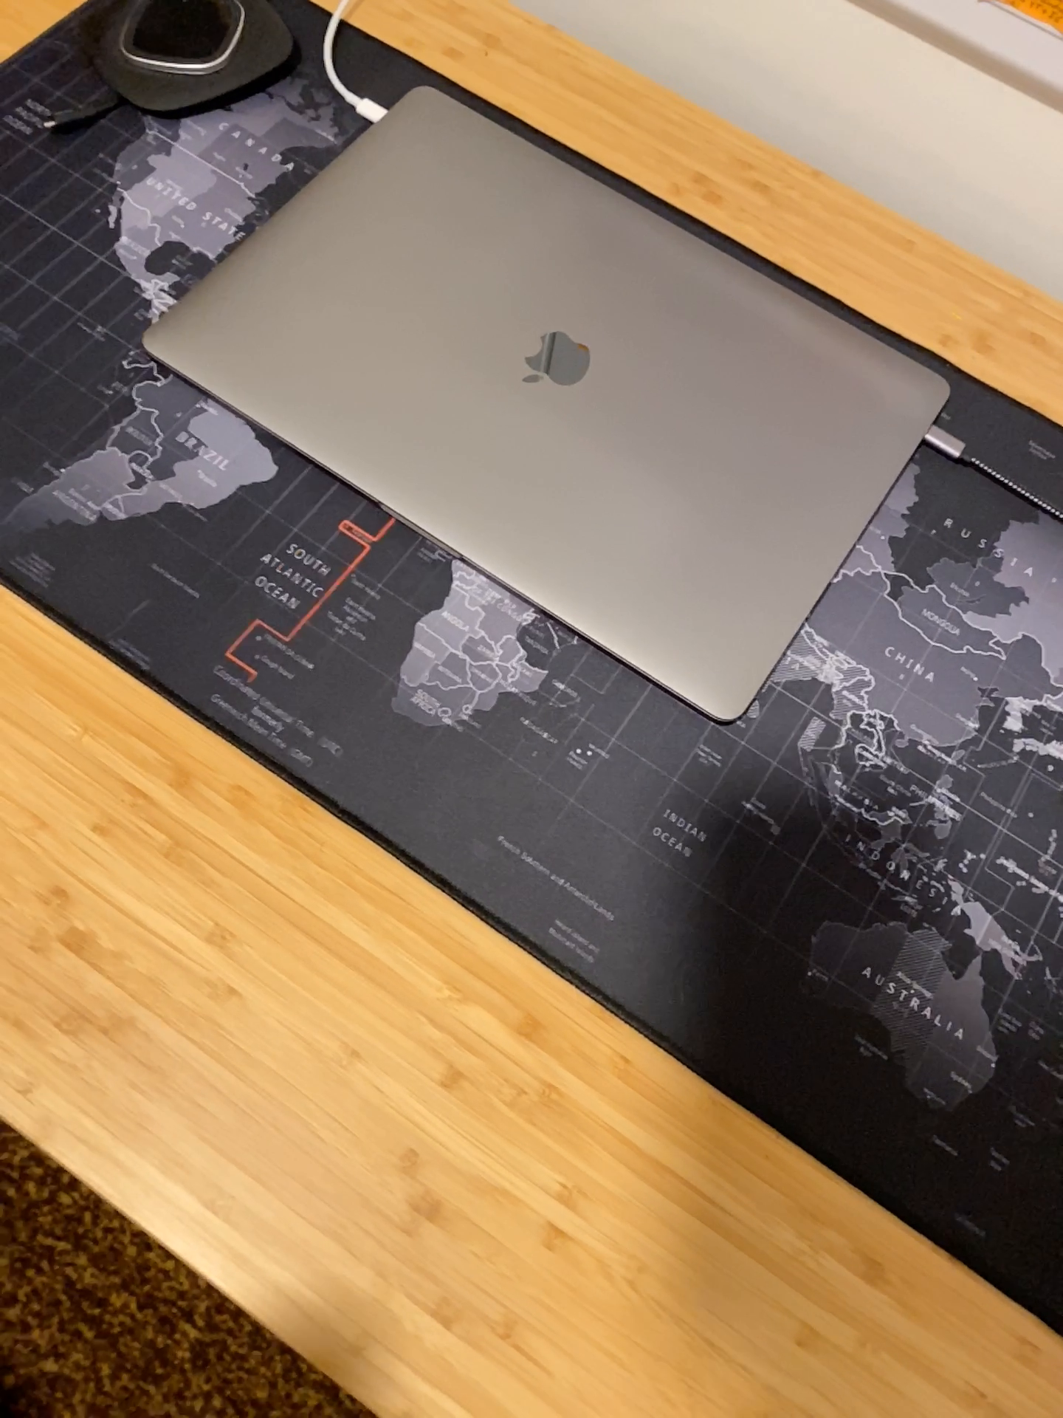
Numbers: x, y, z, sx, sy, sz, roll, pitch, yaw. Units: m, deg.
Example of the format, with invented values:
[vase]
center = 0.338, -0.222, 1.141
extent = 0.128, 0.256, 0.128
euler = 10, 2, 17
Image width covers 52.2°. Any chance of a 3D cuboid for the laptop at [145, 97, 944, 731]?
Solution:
[laptop]
center = 0.011, -0.168, 0.542
extent = 0.336, 0.002, 0.227
euler = 33, 68, 10
